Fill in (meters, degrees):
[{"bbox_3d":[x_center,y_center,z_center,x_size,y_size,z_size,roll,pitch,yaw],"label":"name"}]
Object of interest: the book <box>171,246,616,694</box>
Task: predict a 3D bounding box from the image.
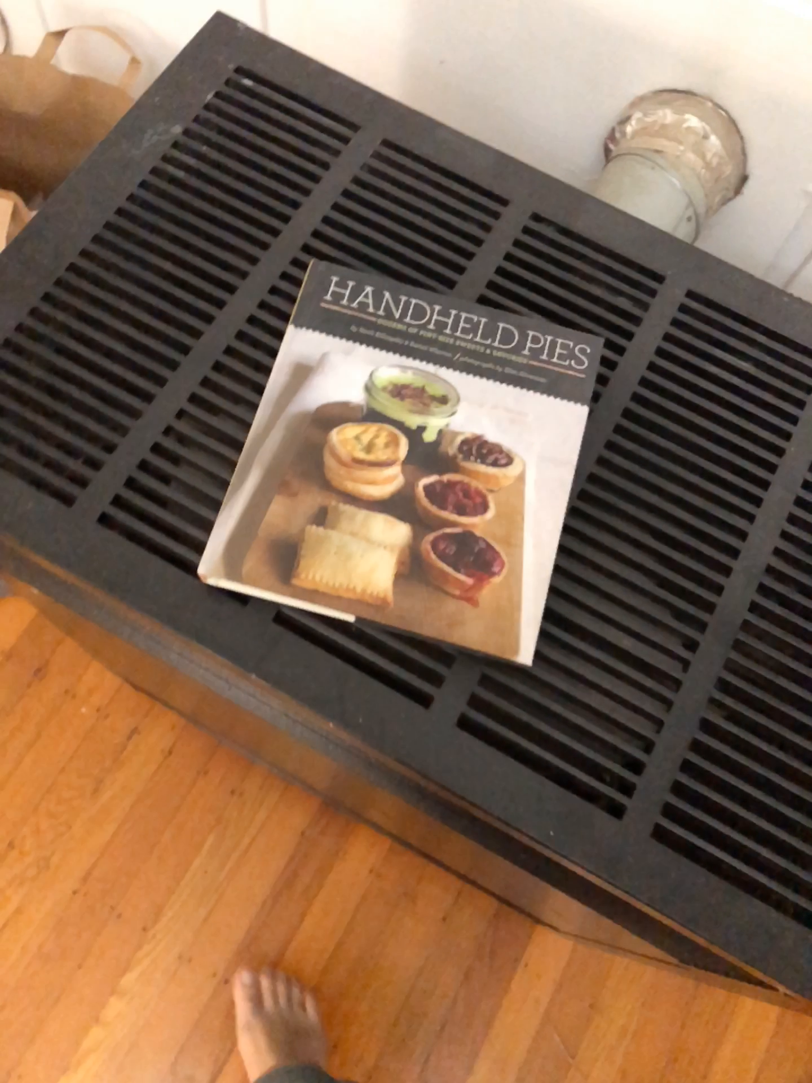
[{"bbox_3d":[0.002,-0.050,0.518,0.200,0.020,0.231,15,69,2],"label":"book"}]
